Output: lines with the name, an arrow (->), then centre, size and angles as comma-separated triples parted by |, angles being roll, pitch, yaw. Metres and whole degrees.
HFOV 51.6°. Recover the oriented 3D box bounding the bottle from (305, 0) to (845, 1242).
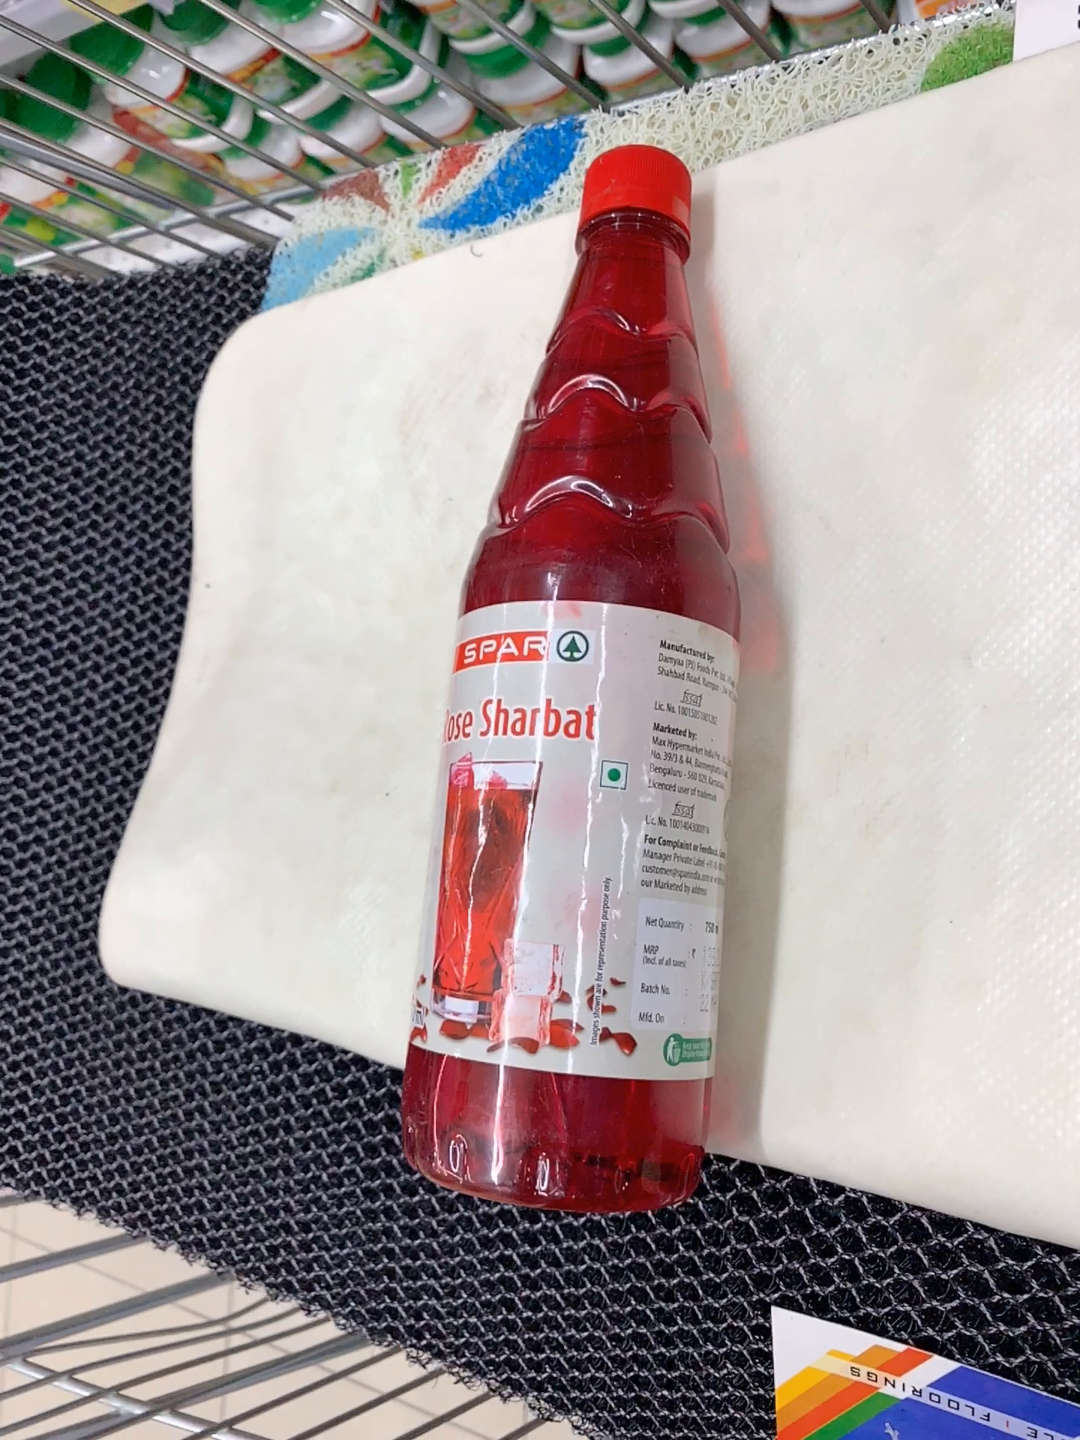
bottle -> 0.014, -0.022, 0.245 | 0.070, 0.070, 0.230 | -2, 78, 38
